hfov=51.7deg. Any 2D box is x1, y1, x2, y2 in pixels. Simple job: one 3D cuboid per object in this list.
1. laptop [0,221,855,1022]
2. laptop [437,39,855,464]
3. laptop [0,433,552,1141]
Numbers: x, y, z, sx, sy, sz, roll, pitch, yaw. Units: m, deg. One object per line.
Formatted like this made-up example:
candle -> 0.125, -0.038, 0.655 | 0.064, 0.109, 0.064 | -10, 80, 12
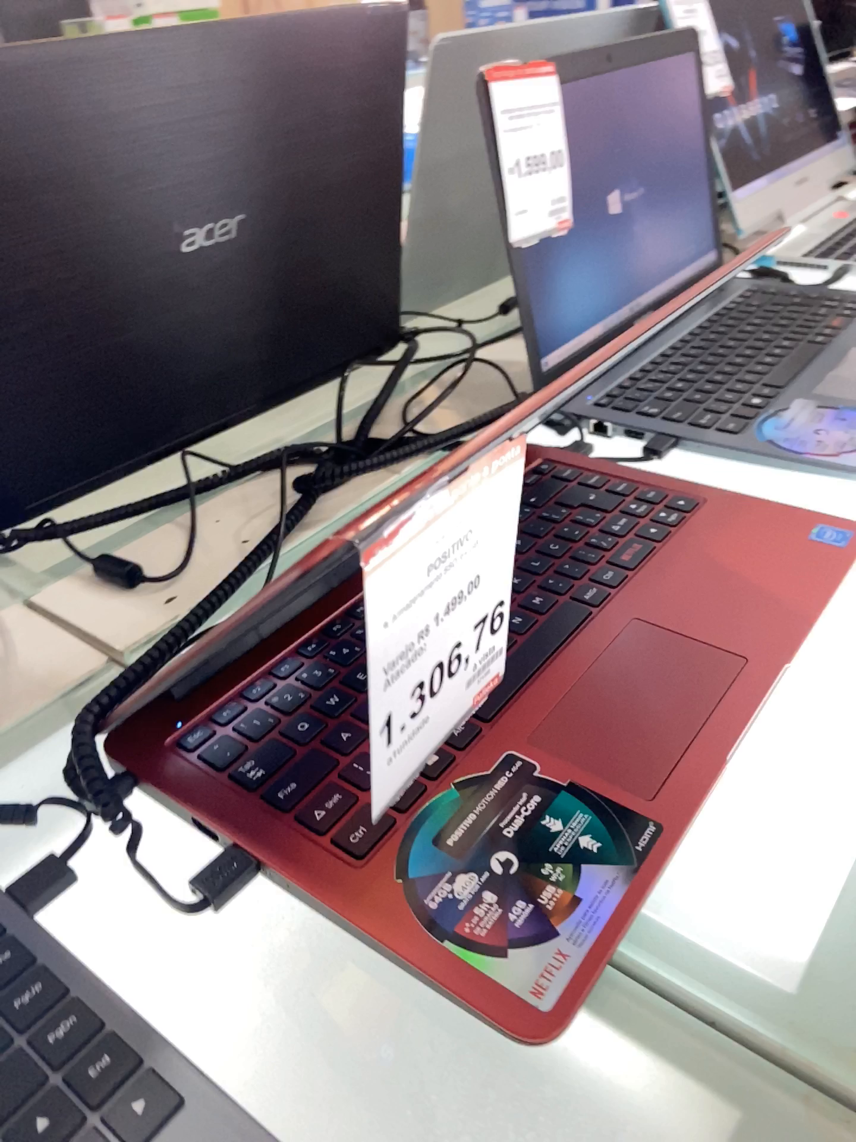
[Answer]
laptop -> 0.044, -0.034, 0.375 | 0.212, 0.144, 0.321 | 19, 40, 33
laptop -> 0.255, -0.265, 0.649 | 0.277, 0.207, 0.386 | 18, 37, 29
laptop -> -0.182, 0.085, 0.125 | 0.286, 0.159, 0.235 | 14, 26, 24
